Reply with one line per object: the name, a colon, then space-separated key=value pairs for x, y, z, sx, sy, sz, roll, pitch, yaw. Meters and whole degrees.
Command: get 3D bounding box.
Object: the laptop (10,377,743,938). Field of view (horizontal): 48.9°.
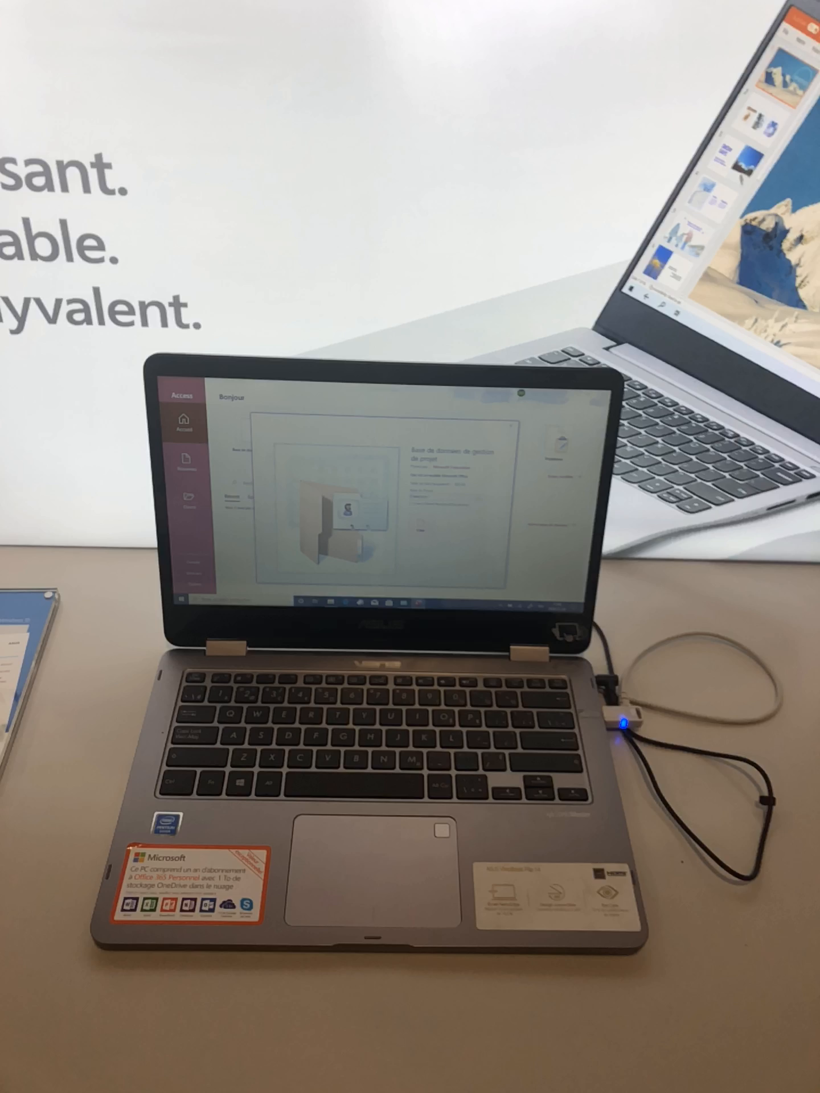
laptop: x=-0.017 y=0.059 z=0.559 sx=0.311 sy=0.214 sz=0.274 roll=1 pitch=39 yaw=-2
